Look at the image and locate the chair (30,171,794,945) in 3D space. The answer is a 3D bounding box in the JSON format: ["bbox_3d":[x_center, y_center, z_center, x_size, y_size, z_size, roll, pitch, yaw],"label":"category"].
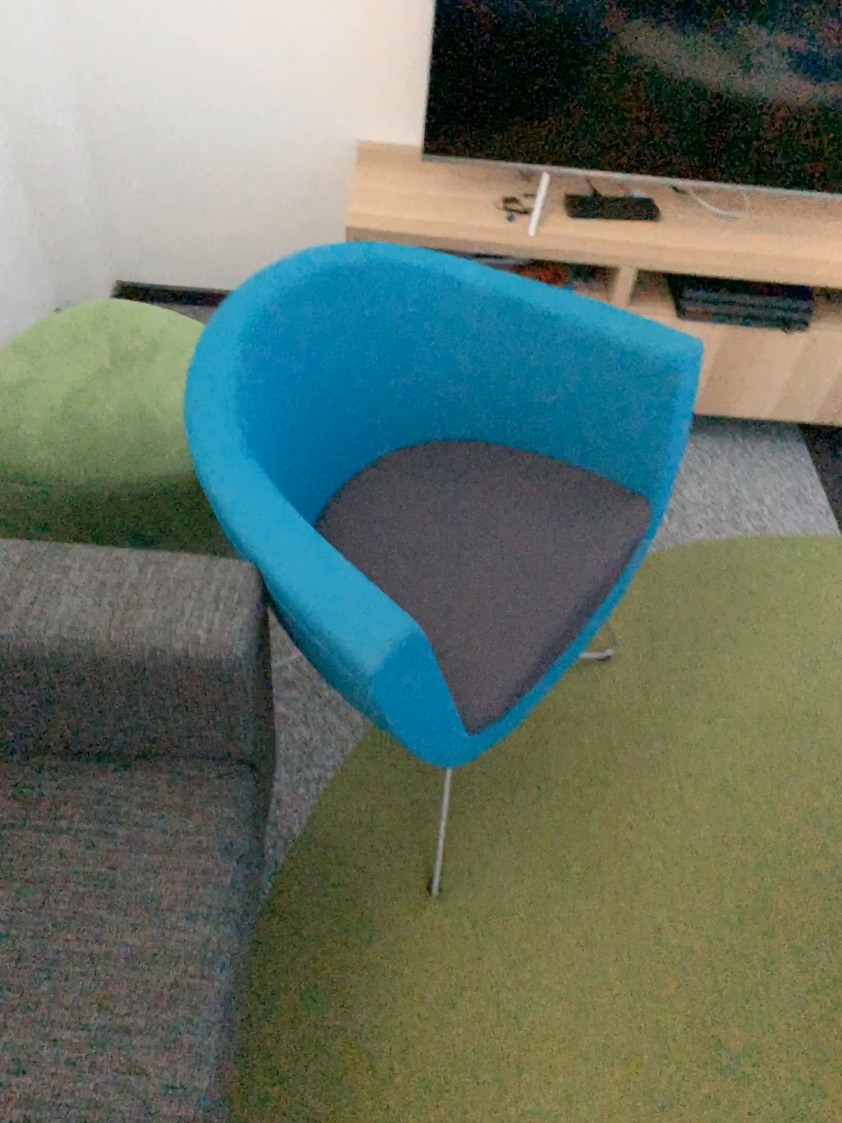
[{"bbox_3d":[0.009,-0.032,1.327,0.620,0.687,0.763,32,53,19],"label":"chair"}]
